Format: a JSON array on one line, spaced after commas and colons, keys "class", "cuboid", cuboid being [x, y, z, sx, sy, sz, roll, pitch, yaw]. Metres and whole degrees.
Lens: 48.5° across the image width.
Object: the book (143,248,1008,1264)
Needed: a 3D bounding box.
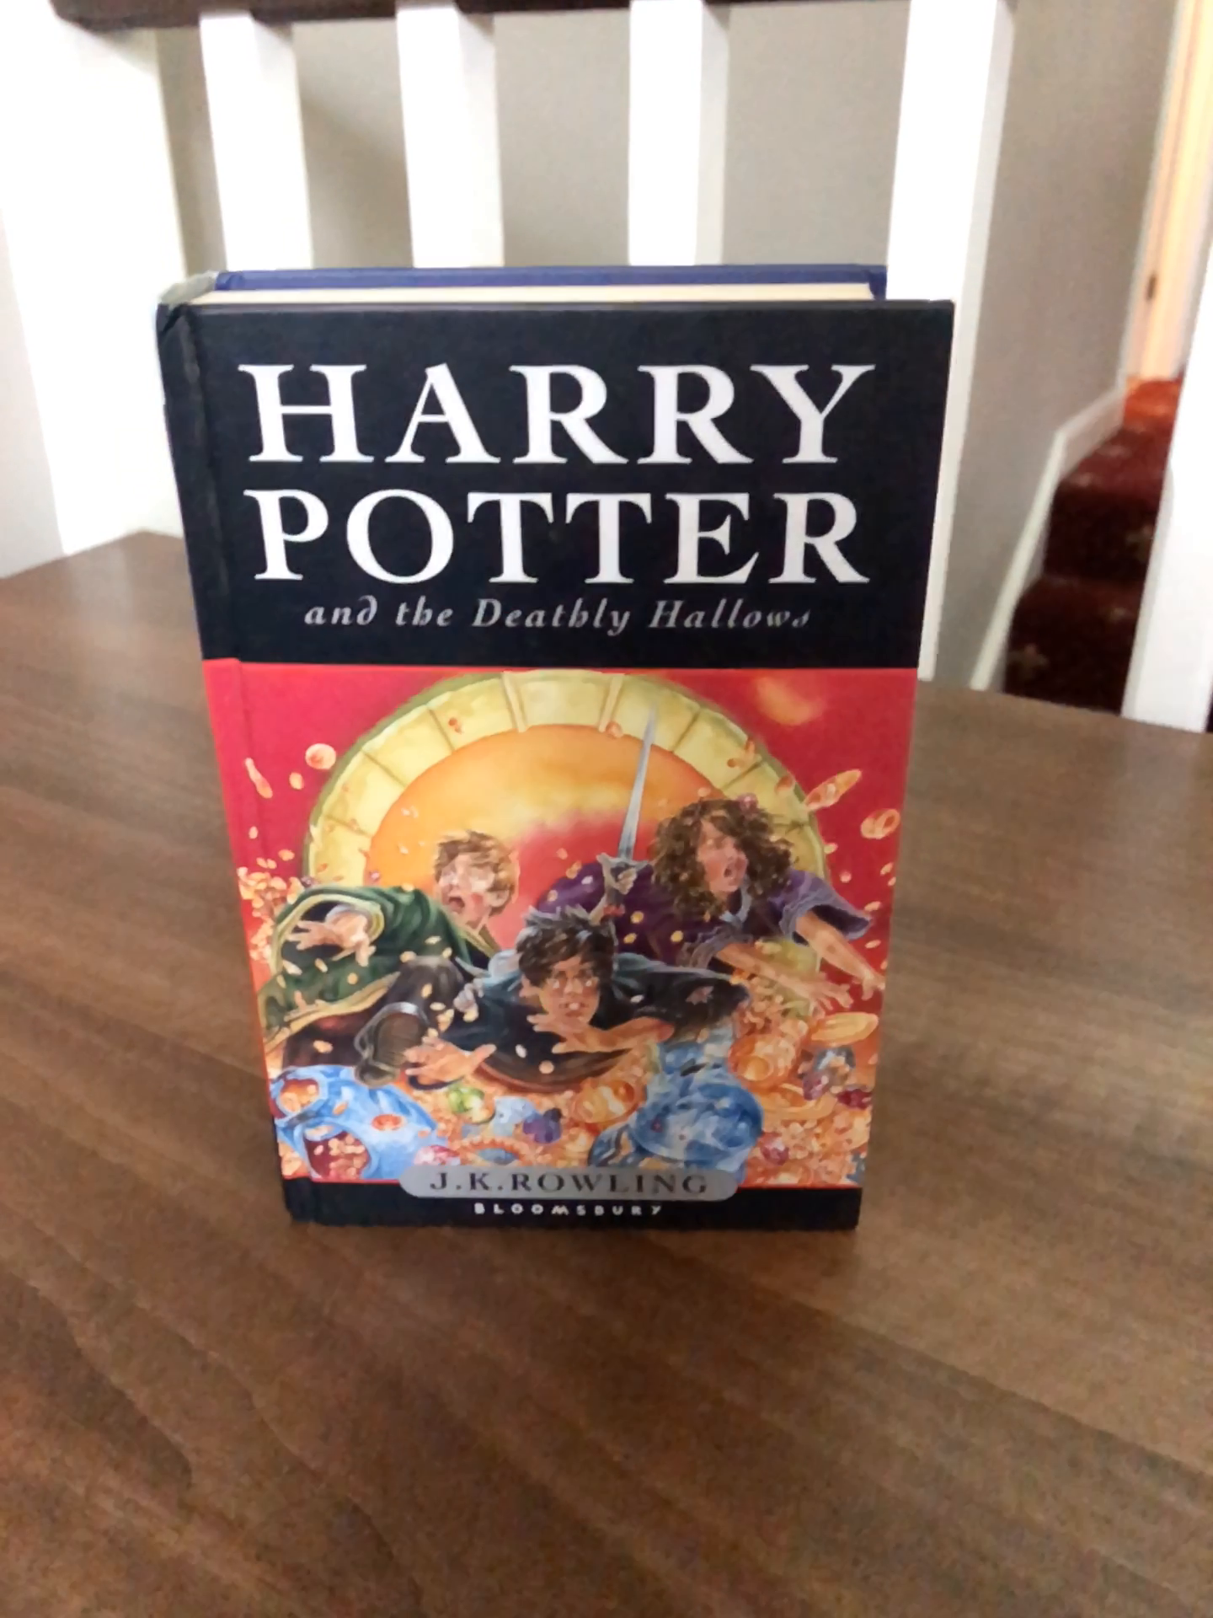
[{"class": "book", "cuboid": [-0.004, -0.006, 0.290, 0.140, 0.209, 0.060, 1, 26, 2]}]
